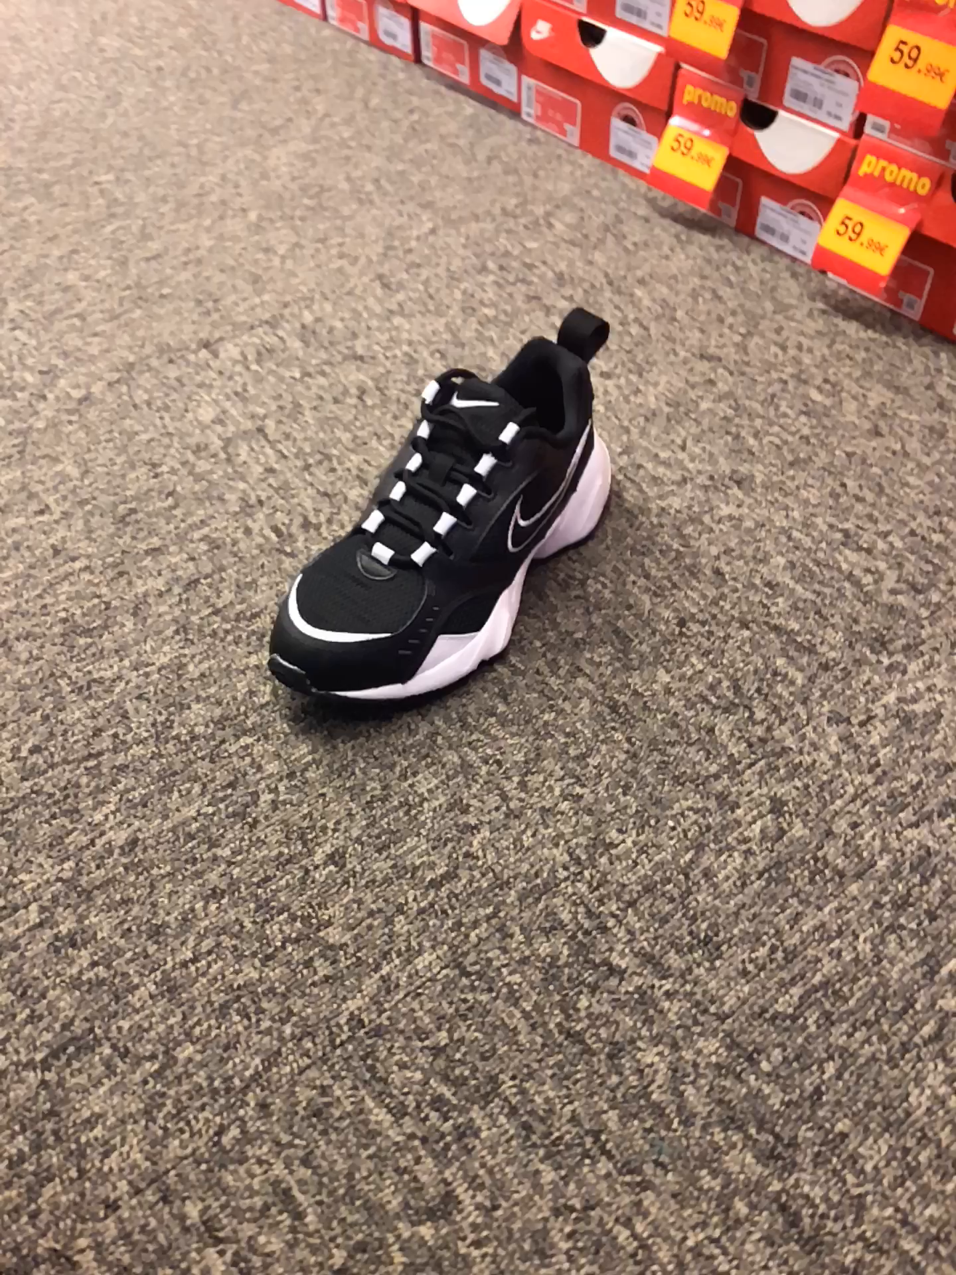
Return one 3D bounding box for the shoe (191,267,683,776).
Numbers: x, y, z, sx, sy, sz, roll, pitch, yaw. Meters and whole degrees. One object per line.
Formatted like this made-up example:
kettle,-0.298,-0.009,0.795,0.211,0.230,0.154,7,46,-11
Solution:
shoe,-0.007,-0.073,0.557,0.104,0.109,0.261,28,56,25
